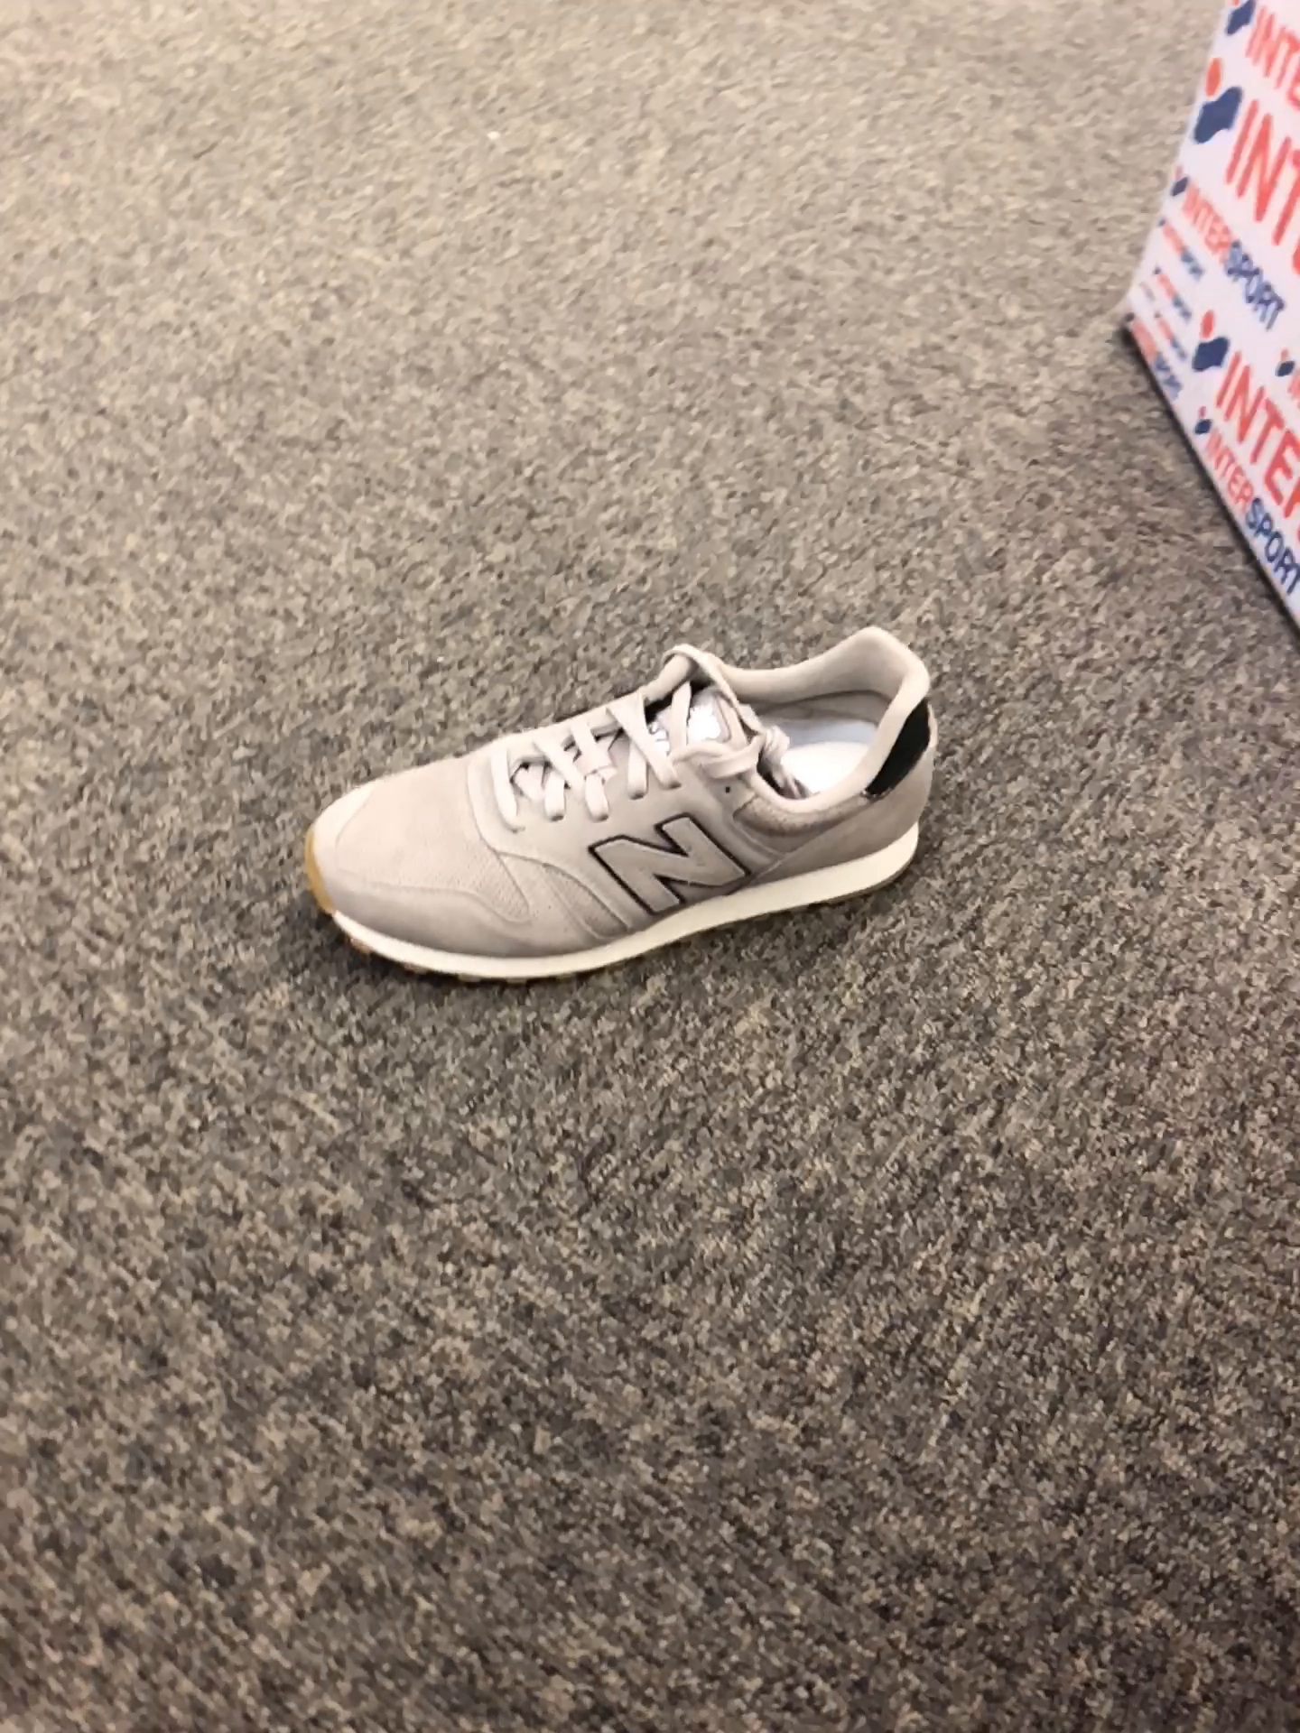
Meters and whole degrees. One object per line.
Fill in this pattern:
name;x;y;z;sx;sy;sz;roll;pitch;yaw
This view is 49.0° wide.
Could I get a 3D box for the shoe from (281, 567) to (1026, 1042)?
shoe;-0.002;-0.028;0.572;0.260;0.109;0.100;-11;51;-13
